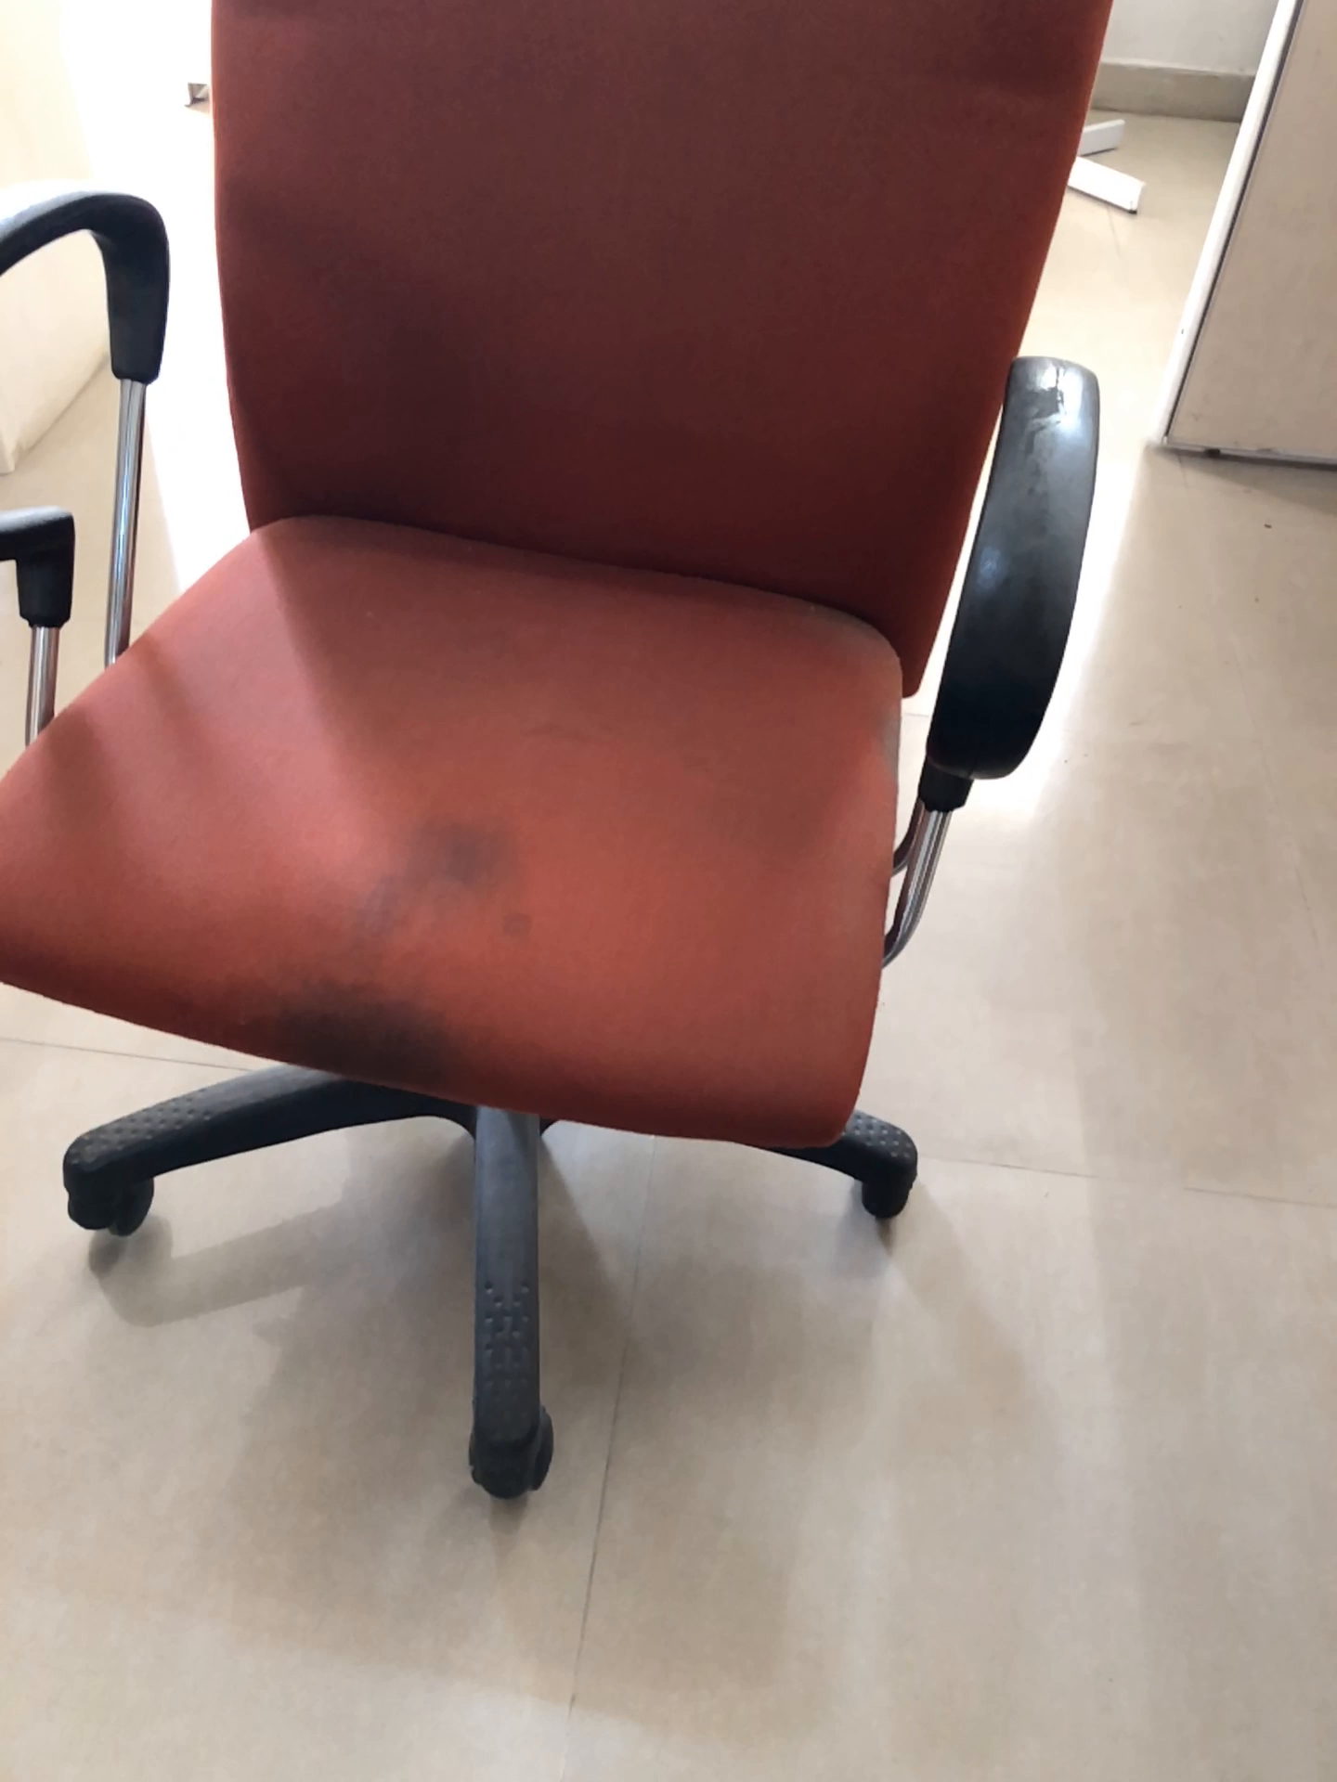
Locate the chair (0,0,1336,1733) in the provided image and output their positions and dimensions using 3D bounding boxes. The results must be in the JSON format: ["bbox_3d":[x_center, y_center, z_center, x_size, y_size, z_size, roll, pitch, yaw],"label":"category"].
[{"bbox_3d":[-0.096,-0.106,0.954,0.770,1.043,0.705,12,44,7],"label":"chair"}]
